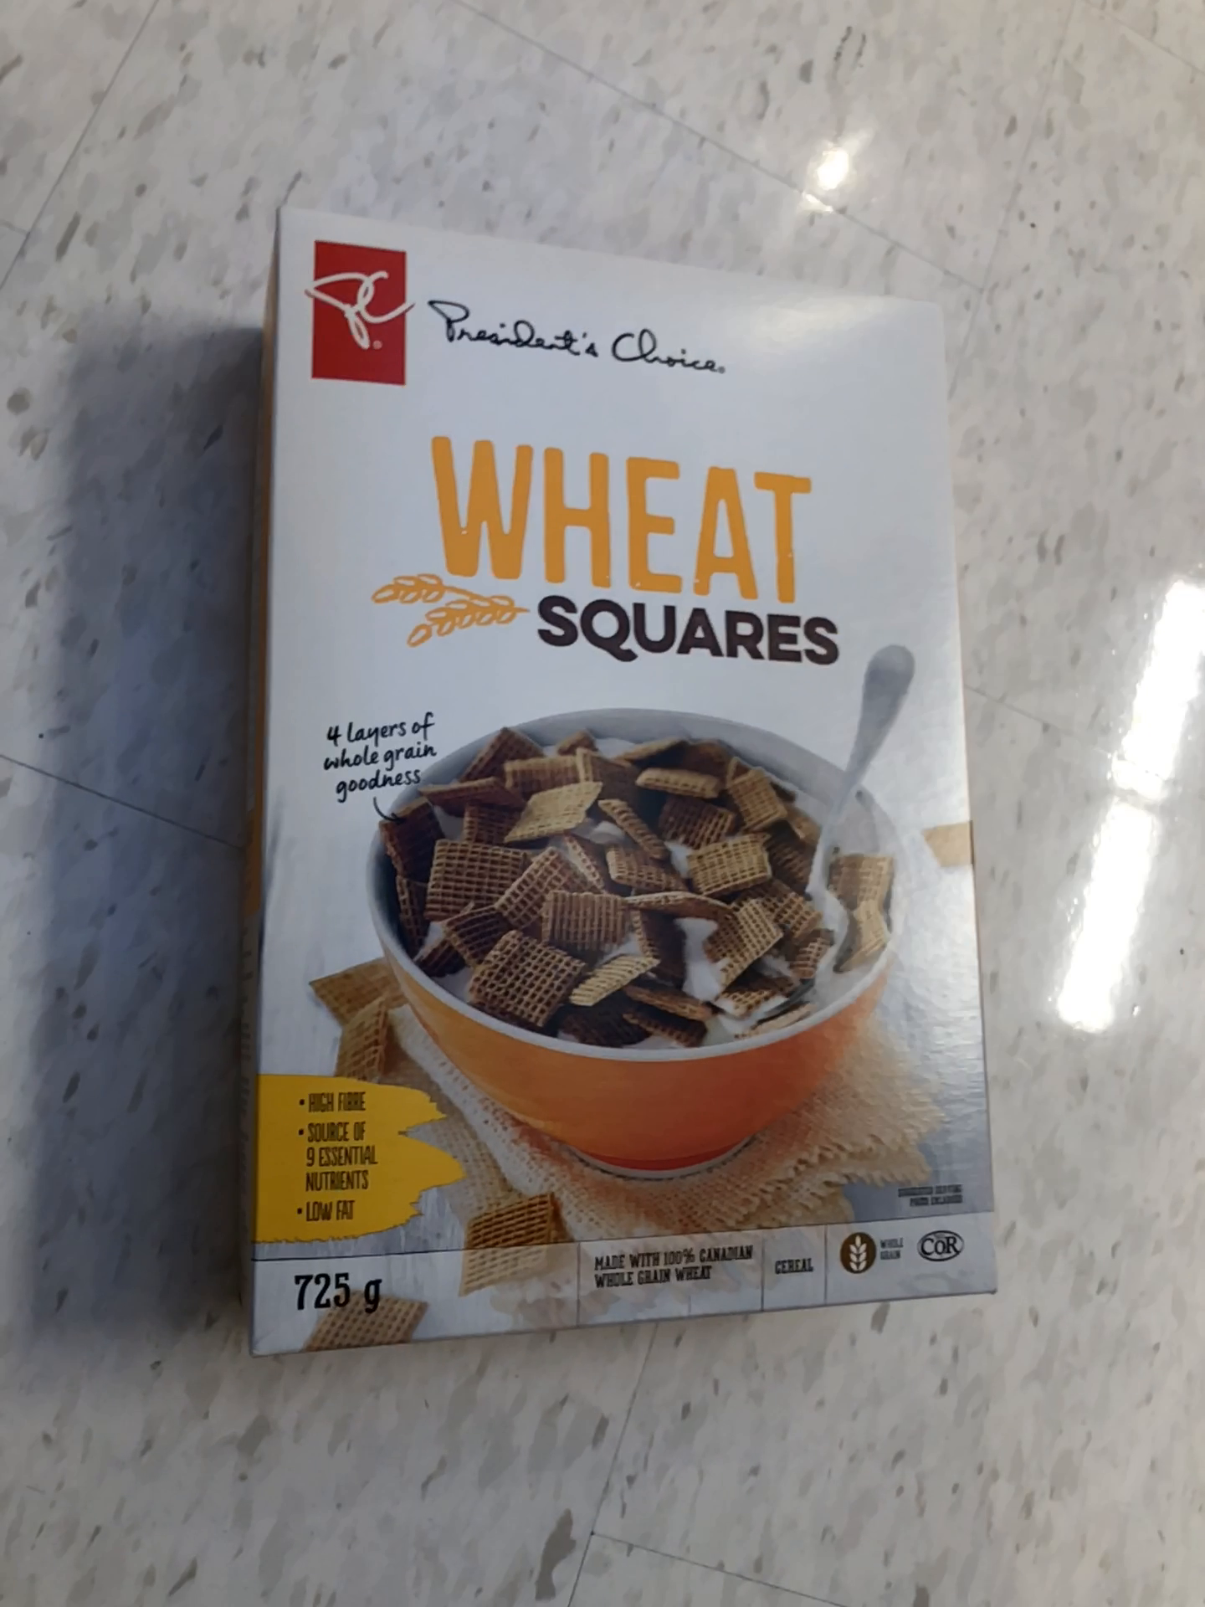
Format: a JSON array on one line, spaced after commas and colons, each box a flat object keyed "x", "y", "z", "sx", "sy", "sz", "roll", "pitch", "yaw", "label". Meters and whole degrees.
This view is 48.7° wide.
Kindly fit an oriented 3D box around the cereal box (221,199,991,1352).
[{"x": -0.004, "y": -0.008, "z": 0.396, "sx": 0.200, "sy": 0.080, "sz": 0.290, "roll": 2, "pitch": 80, "yaw": -17, "label": "cereal box"}]
